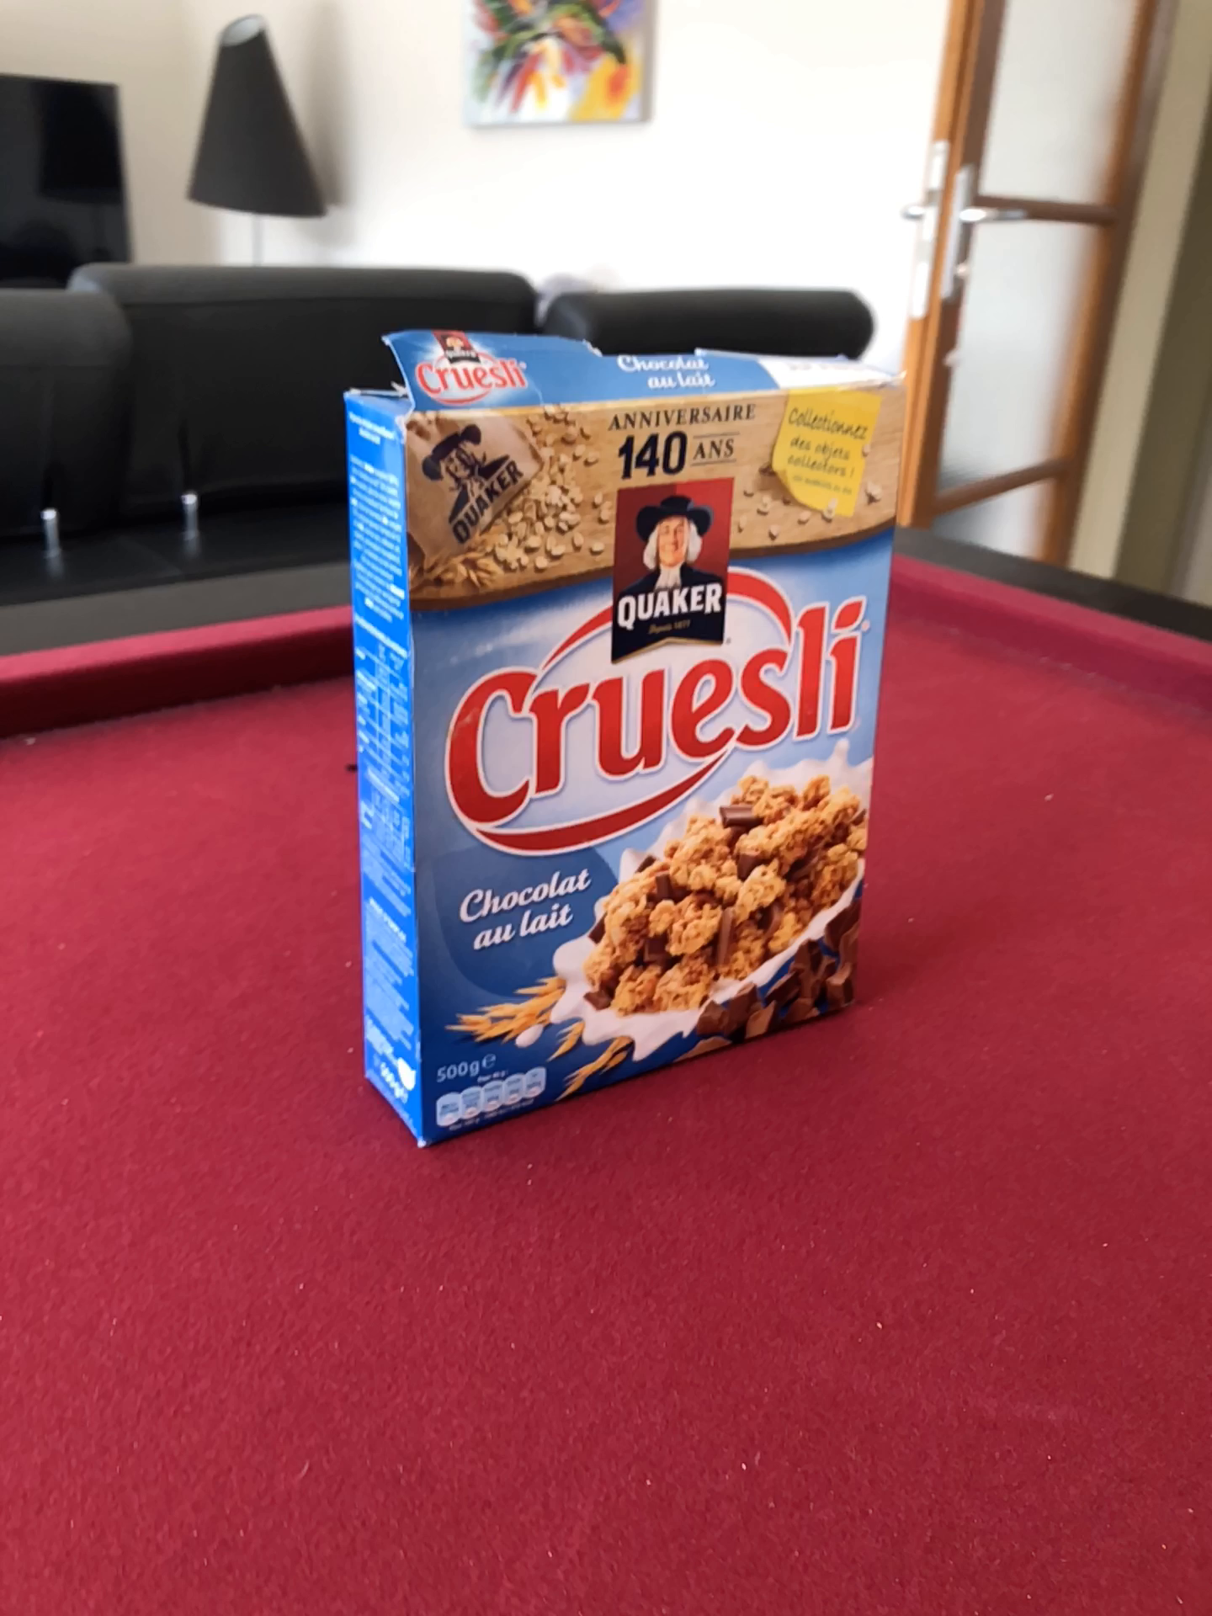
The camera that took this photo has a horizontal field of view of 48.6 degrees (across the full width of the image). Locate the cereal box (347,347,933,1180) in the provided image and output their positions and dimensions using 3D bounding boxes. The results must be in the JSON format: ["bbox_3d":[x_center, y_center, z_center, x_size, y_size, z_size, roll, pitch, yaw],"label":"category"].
[{"bbox_3d":[0.011,-0.022,0.469,0.191,0.259,0.050,-13,28,-33],"label":"cereal box"}]
